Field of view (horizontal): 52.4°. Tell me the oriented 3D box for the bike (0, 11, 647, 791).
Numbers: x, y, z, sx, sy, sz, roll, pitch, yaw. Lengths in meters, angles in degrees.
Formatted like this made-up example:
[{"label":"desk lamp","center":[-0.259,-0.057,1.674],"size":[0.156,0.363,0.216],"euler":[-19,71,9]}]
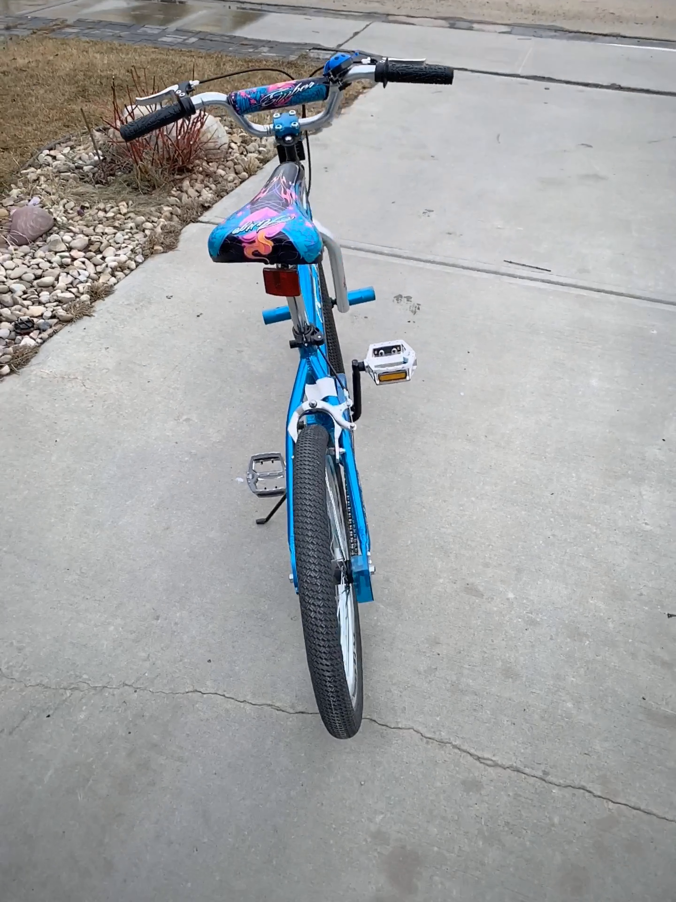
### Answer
[{"label":"bike","center":[-0.157,-0.226,1.351],"size":[0.680,0.837,1.392],"euler":[-3,43,-4]}]
